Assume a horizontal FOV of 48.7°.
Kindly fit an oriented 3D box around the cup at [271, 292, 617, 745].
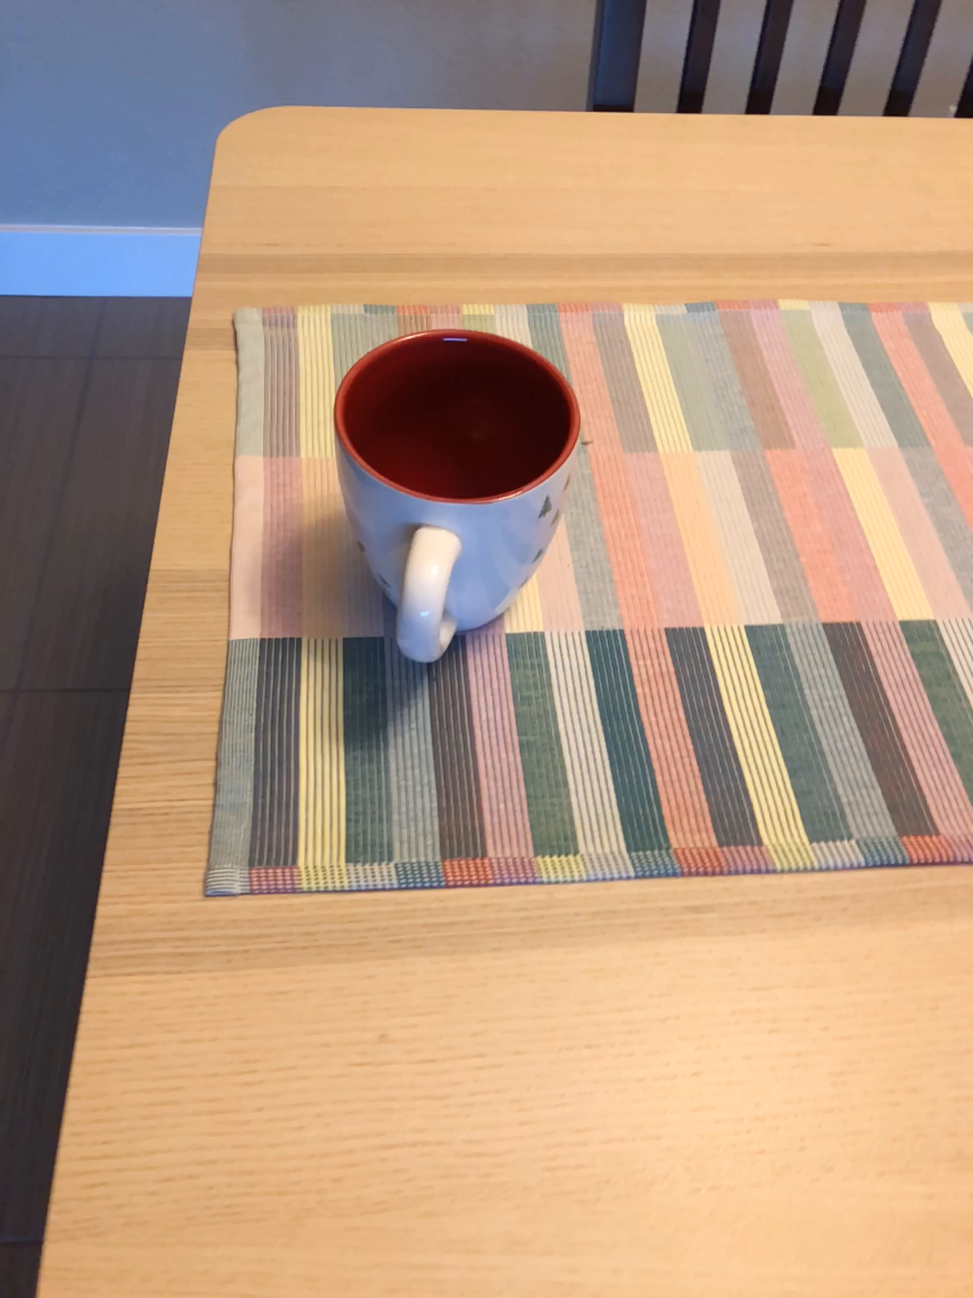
[{"bbox_3d":[-0.011,-0.053,0.424,0.100,0.090,0.140,10,54,3],"label":"cup"}]
